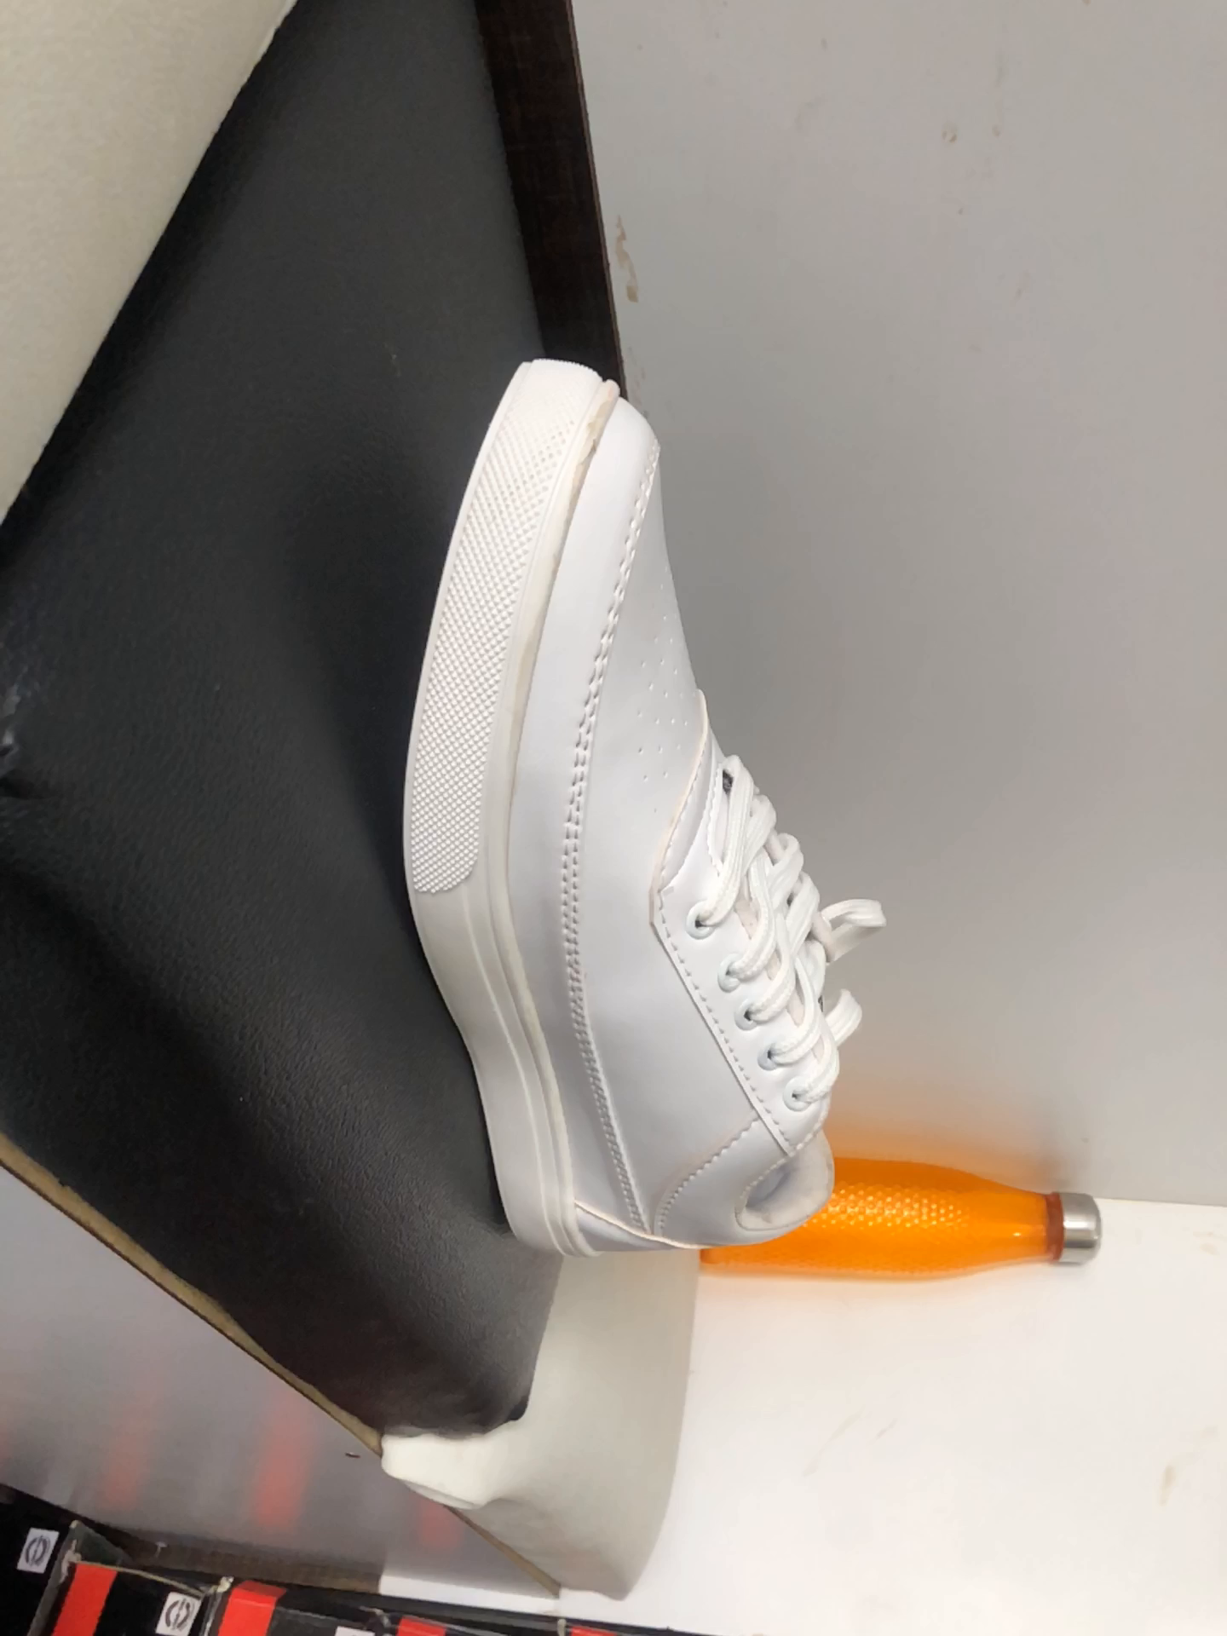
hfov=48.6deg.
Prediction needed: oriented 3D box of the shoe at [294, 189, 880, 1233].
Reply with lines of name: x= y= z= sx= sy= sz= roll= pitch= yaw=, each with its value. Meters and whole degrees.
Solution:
shoe: x=0.018 y=-0.009 z=0.402 sx=0.291 sy=0.110 sz=0.130 roll=81 pitch=14 yaw=-47
